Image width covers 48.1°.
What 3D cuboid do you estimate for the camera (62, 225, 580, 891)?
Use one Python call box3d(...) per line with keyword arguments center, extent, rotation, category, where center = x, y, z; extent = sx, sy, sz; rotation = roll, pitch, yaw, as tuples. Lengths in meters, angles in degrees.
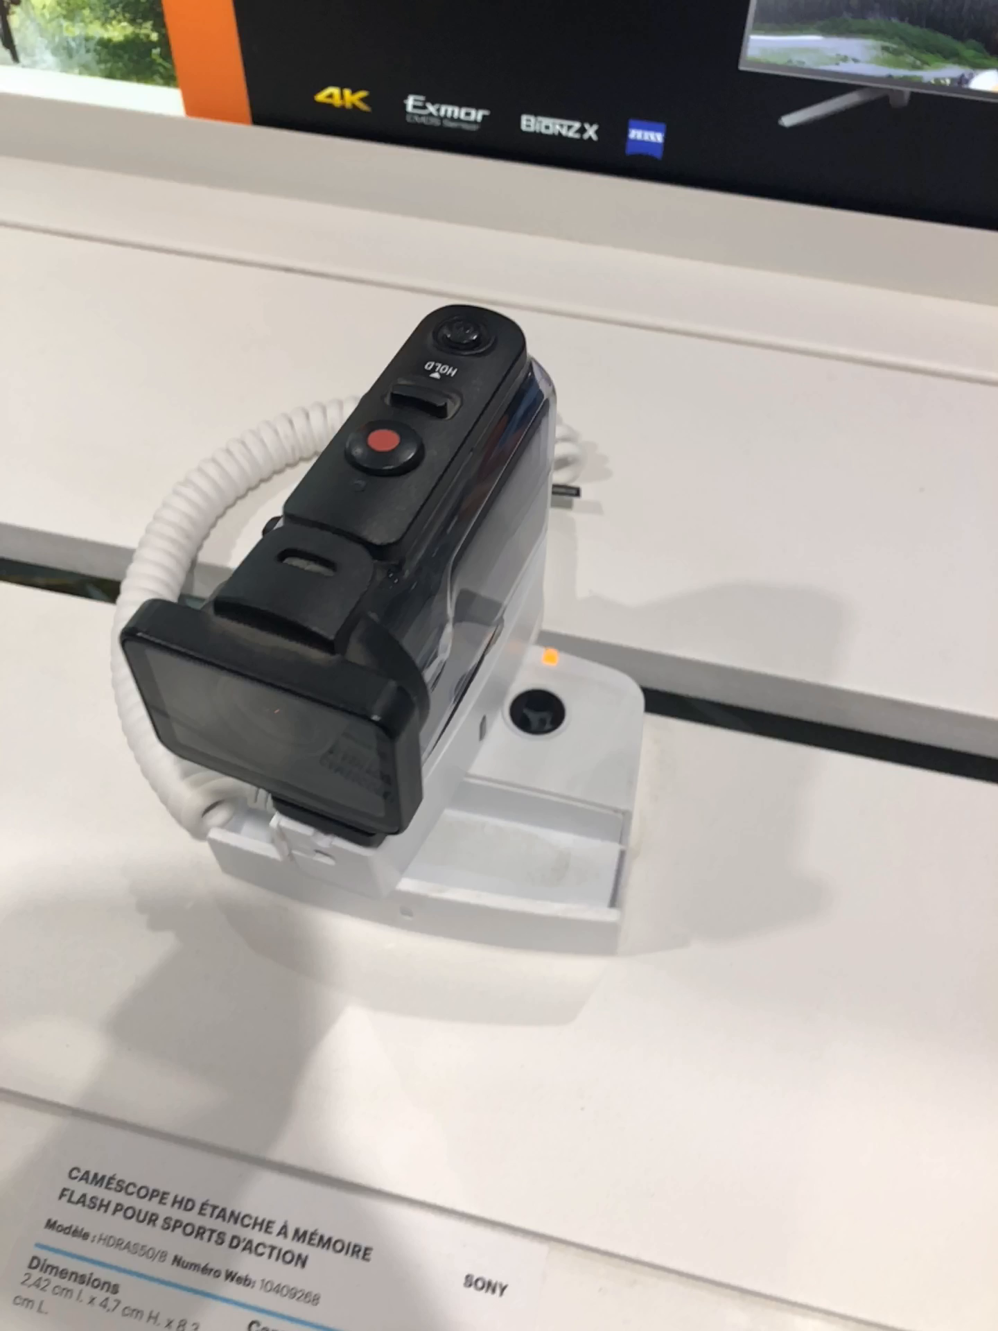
box3d(center=(-0.022, -0.018, 0.196), extent=(0.045, 0.064, 0.088), rotation=(17, 64, 12), category="camera")
